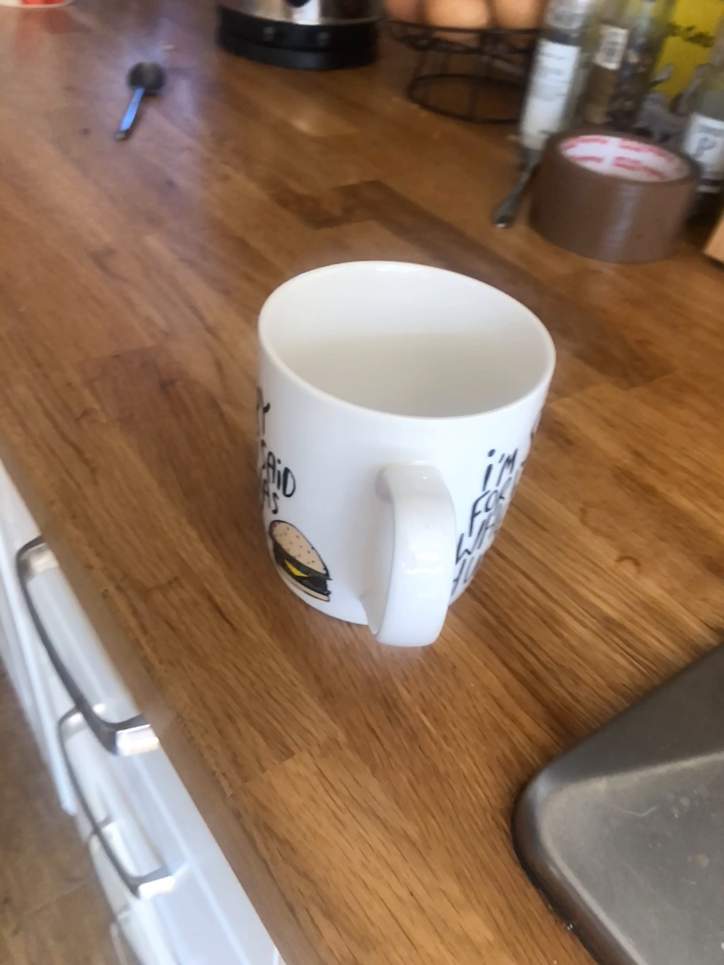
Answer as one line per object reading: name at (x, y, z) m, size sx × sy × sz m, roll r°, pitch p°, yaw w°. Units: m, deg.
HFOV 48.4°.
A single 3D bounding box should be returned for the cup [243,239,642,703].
cup at (0.012, -0.007, 0.251) m, size 0.090 × 0.087 × 0.115 m, roll 3°, pitch 41°, yaw -6°
